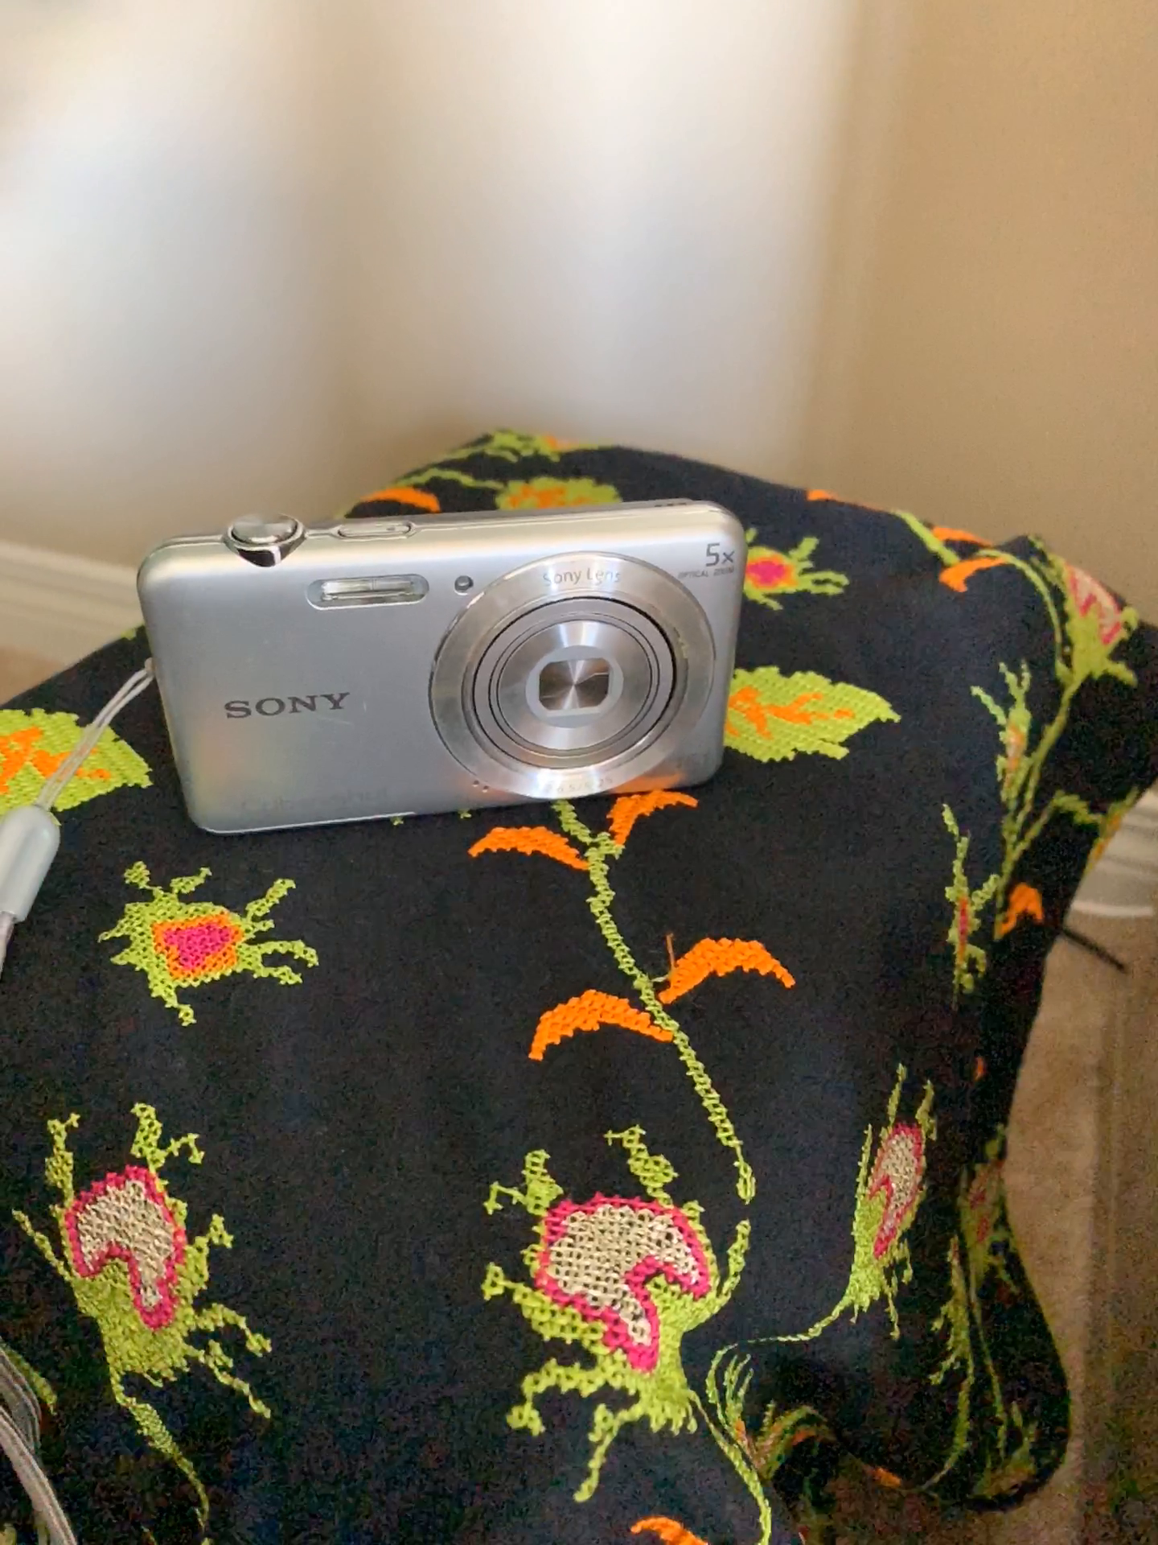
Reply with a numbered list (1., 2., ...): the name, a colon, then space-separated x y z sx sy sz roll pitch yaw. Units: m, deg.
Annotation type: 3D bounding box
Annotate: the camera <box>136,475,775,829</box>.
1. camera: -0.017 -0.019 0.184 0.086 0.042 0.020 -6 37 -9
